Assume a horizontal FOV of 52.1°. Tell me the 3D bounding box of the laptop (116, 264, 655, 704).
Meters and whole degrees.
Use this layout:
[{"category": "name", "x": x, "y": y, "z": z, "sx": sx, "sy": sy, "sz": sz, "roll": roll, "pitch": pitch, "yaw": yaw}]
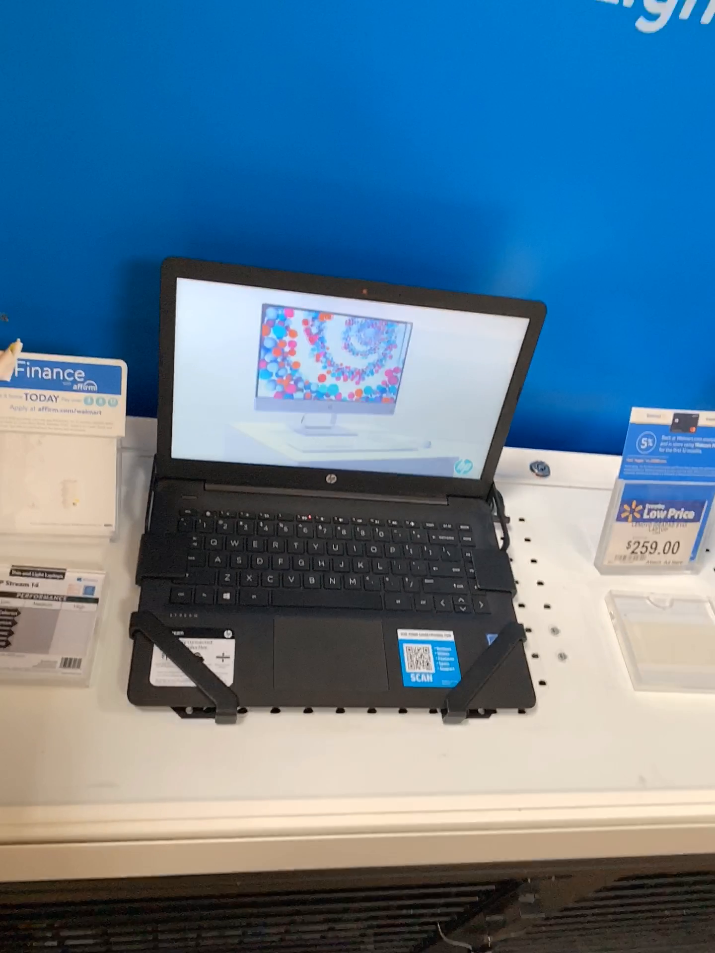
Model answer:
[{"category": "laptop", "x": -0.002, "y": 0.012, "z": 0.592, "sx": 0.326, "sy": 0.203, "sz": 0.270, "roll": 4, "pitch": 48, "yaw": -12}]
